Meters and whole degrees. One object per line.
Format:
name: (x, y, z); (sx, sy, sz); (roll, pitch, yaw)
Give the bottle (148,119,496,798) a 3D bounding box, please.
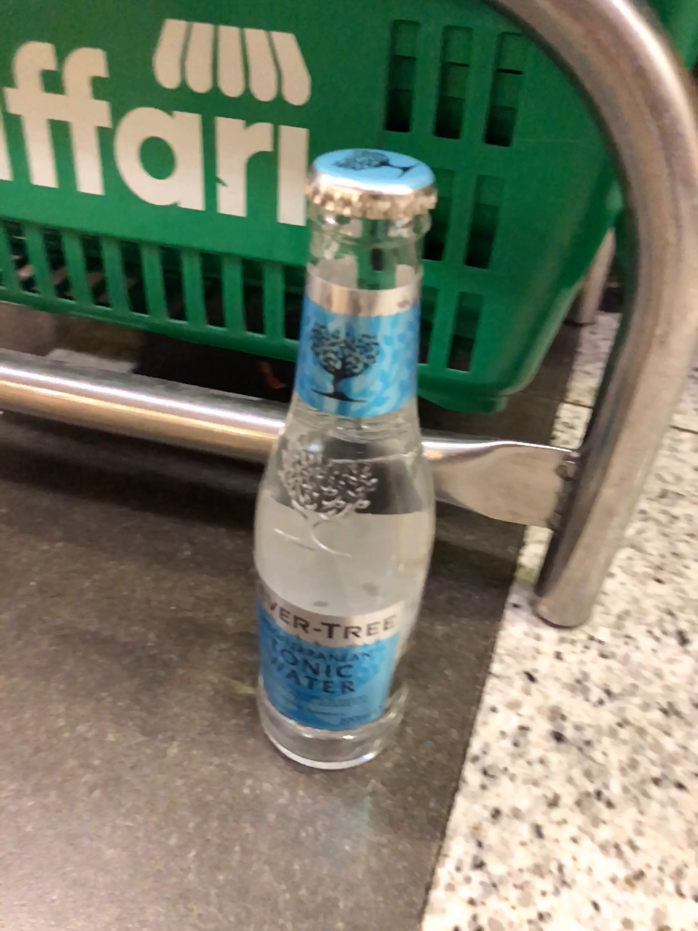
bottle: (-0.008, 0.012, 0.218); (0.060, 0.188, 0.050); (12, 38, 10)
